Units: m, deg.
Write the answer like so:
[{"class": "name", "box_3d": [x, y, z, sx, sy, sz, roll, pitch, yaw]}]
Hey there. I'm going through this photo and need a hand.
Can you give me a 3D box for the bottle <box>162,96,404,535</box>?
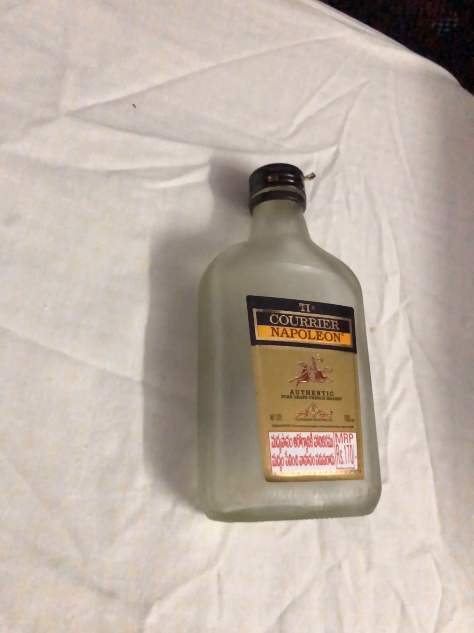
[{"class": "bottle", "box_3d": [0.015, 0.000, 0.219, 0.080, 0.040, 0.160, 7, 71, -25]}]
